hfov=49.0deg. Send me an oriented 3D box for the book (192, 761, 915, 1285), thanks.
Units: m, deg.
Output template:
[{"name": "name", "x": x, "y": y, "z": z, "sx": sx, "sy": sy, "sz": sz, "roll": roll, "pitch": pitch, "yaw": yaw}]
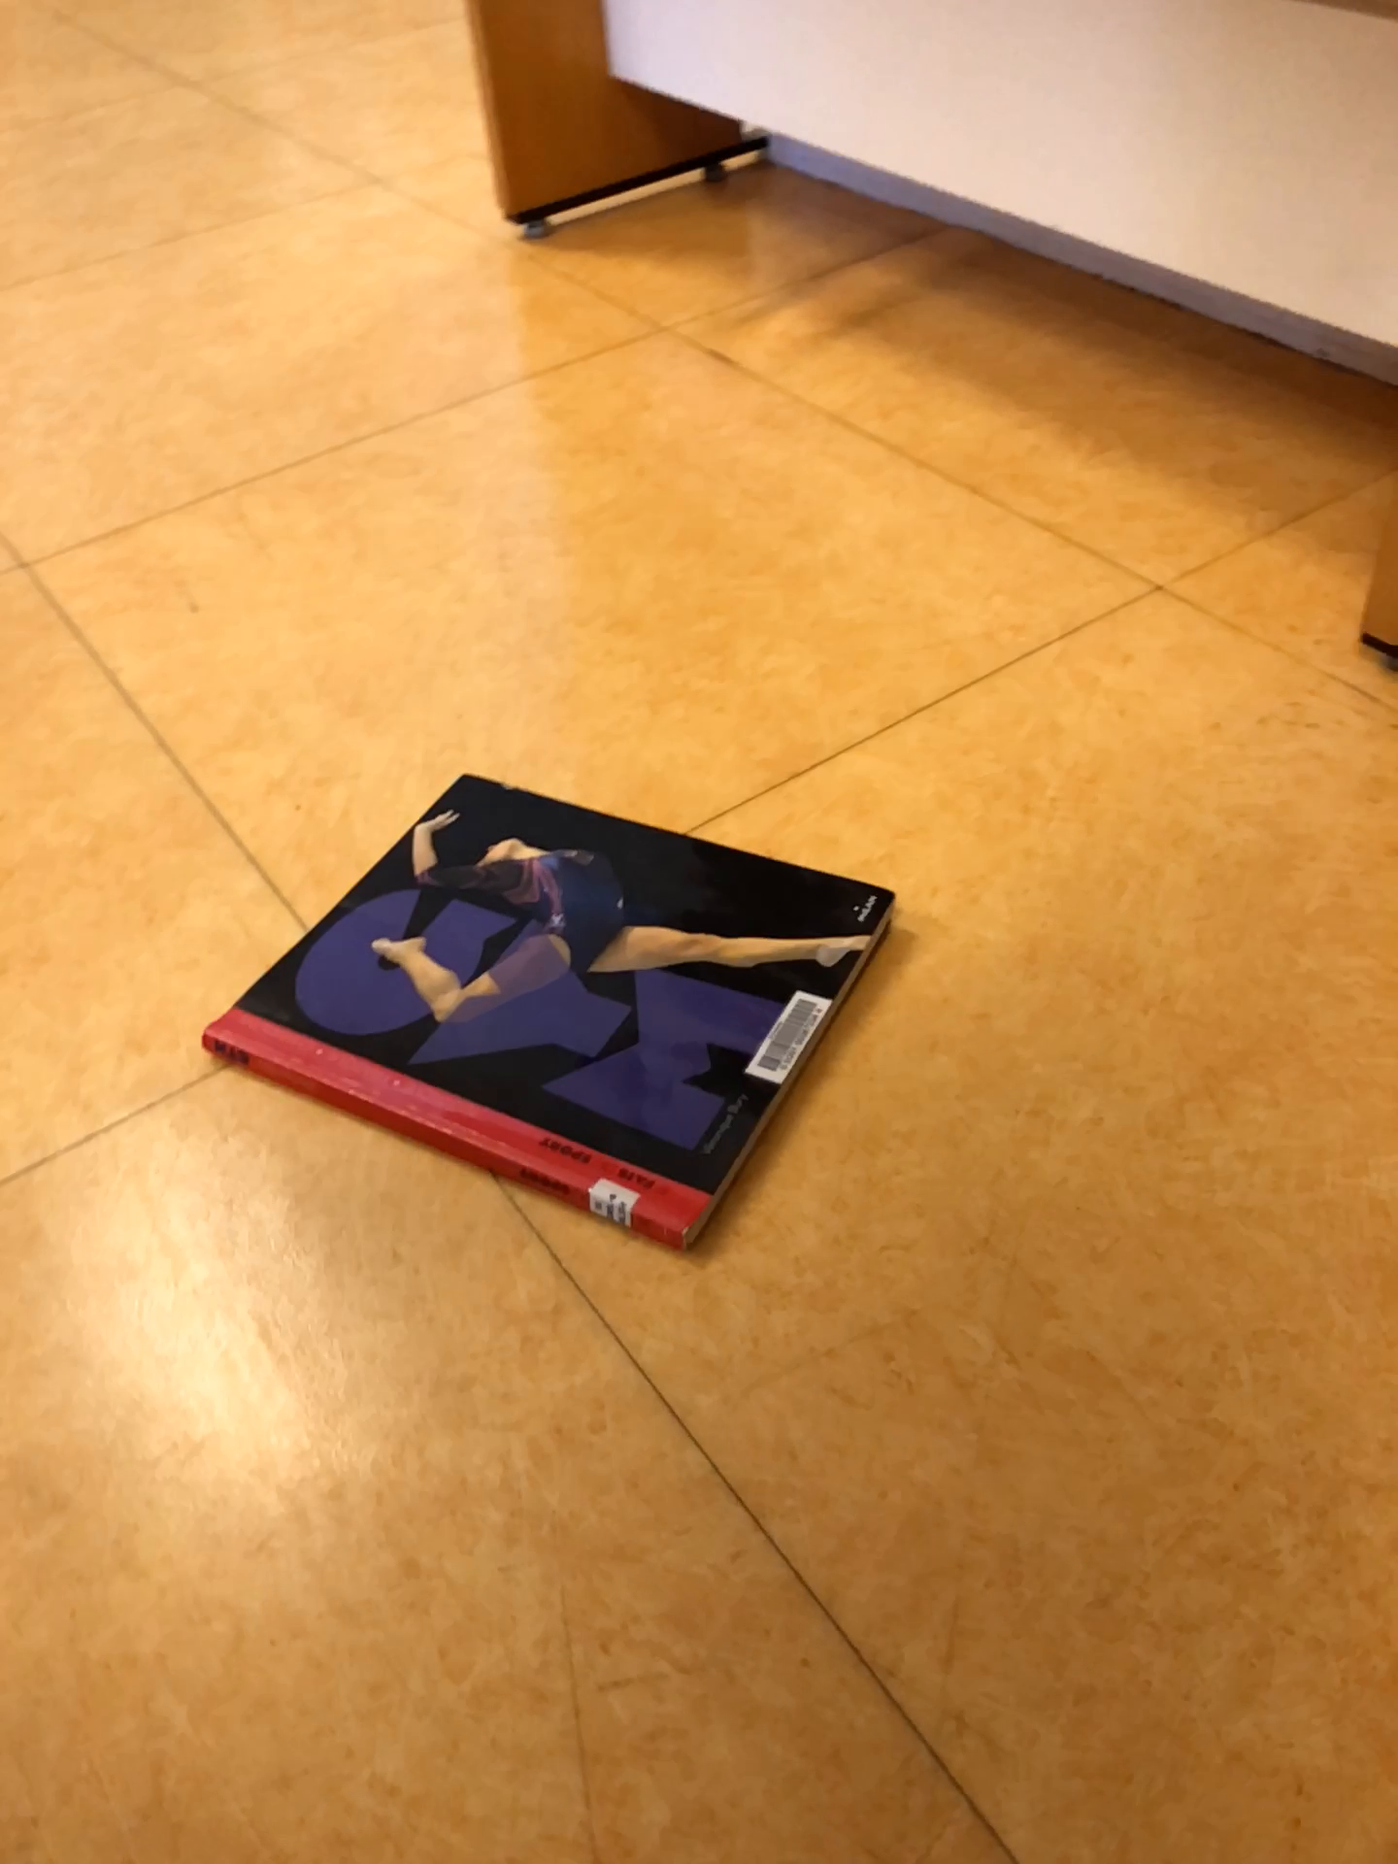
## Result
[{"name": "book", "x": -0.056, "y": 0.022, "z": 0.645, "sx": 0.234, "sy": 0.030, "sz": 0.194, "roll": 17, "pitch": 48, "yaw": 23}]
